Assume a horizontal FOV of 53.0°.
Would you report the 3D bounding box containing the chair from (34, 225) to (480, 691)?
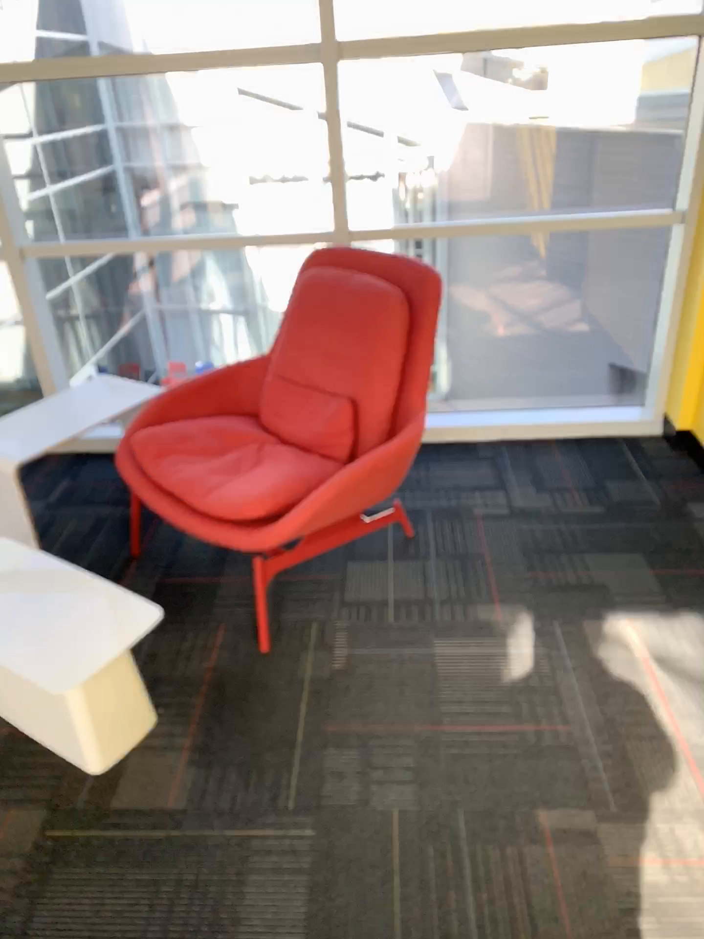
[{"bbox_3d":[-0.229,-0.138,2.249,0.874,0.994,0.921,20,37,36],"label":"chair"}]
